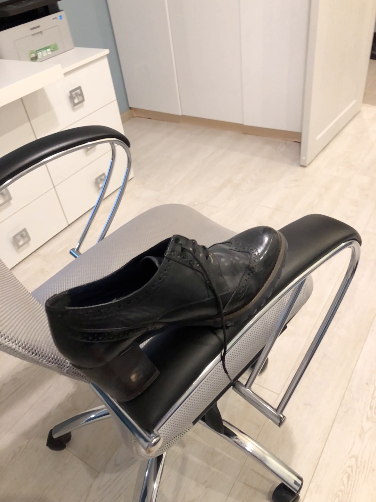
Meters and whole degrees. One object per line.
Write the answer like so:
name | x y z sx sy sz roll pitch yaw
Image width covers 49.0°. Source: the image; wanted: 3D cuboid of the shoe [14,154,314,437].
shoe | -0.009 0.033 0.396 0.251 0.119 0.100 -34 45 -16
